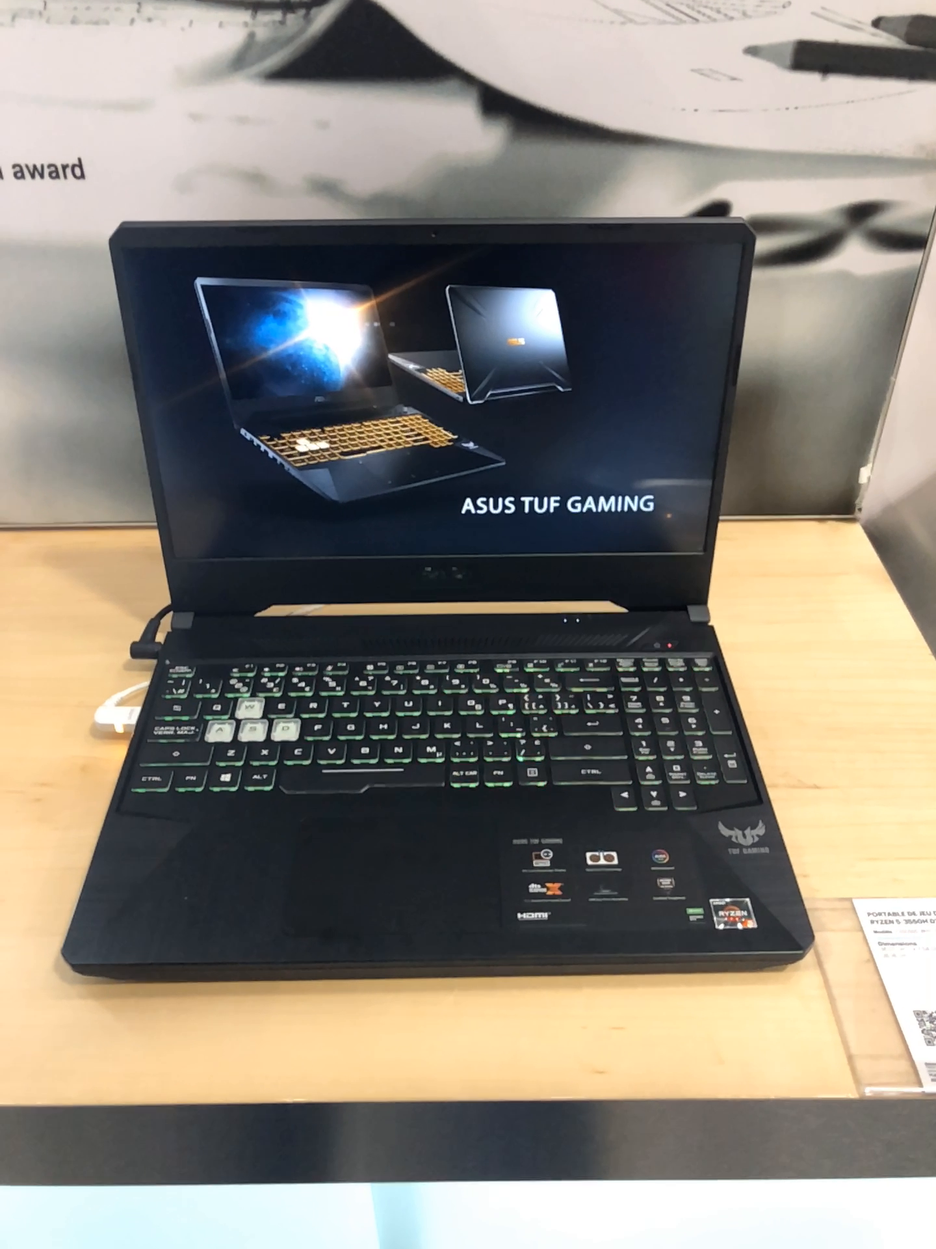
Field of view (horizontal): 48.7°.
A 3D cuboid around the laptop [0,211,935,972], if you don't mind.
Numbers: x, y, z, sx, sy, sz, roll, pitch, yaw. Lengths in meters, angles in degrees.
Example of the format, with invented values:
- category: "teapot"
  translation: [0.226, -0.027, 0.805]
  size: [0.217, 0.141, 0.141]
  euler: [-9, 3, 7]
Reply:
- category: "laptop"
  translation: [-0.019, -0.035, 0.533]
  size: [0.358, 0.245, 0.311]
  euler: [-1, 39, -1]
